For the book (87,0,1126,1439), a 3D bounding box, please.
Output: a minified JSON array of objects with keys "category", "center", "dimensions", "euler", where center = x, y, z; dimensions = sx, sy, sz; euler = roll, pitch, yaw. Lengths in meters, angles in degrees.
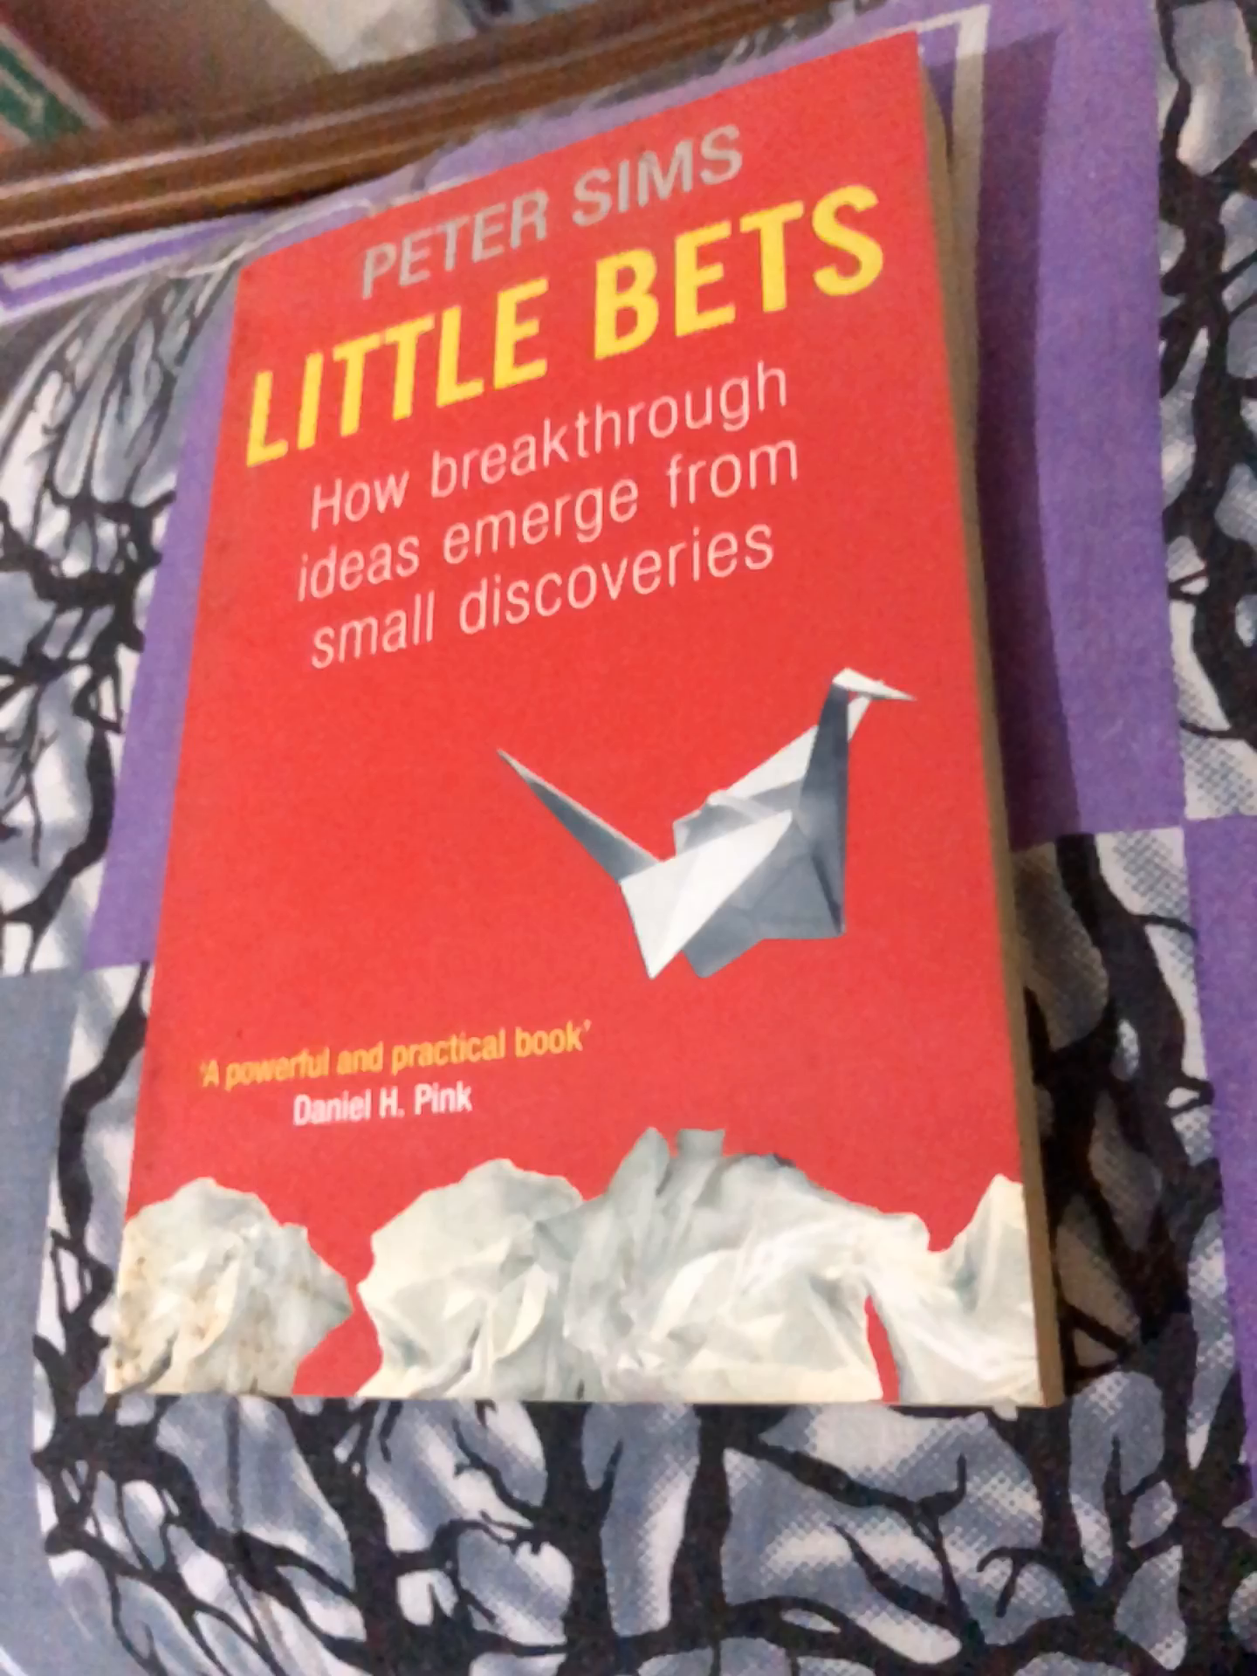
[{"category":"book","center":[-0.009,-0.028,0.244],"dimensions":[0.150,0.020,0.240],"euler":[-10,63,24]}]
